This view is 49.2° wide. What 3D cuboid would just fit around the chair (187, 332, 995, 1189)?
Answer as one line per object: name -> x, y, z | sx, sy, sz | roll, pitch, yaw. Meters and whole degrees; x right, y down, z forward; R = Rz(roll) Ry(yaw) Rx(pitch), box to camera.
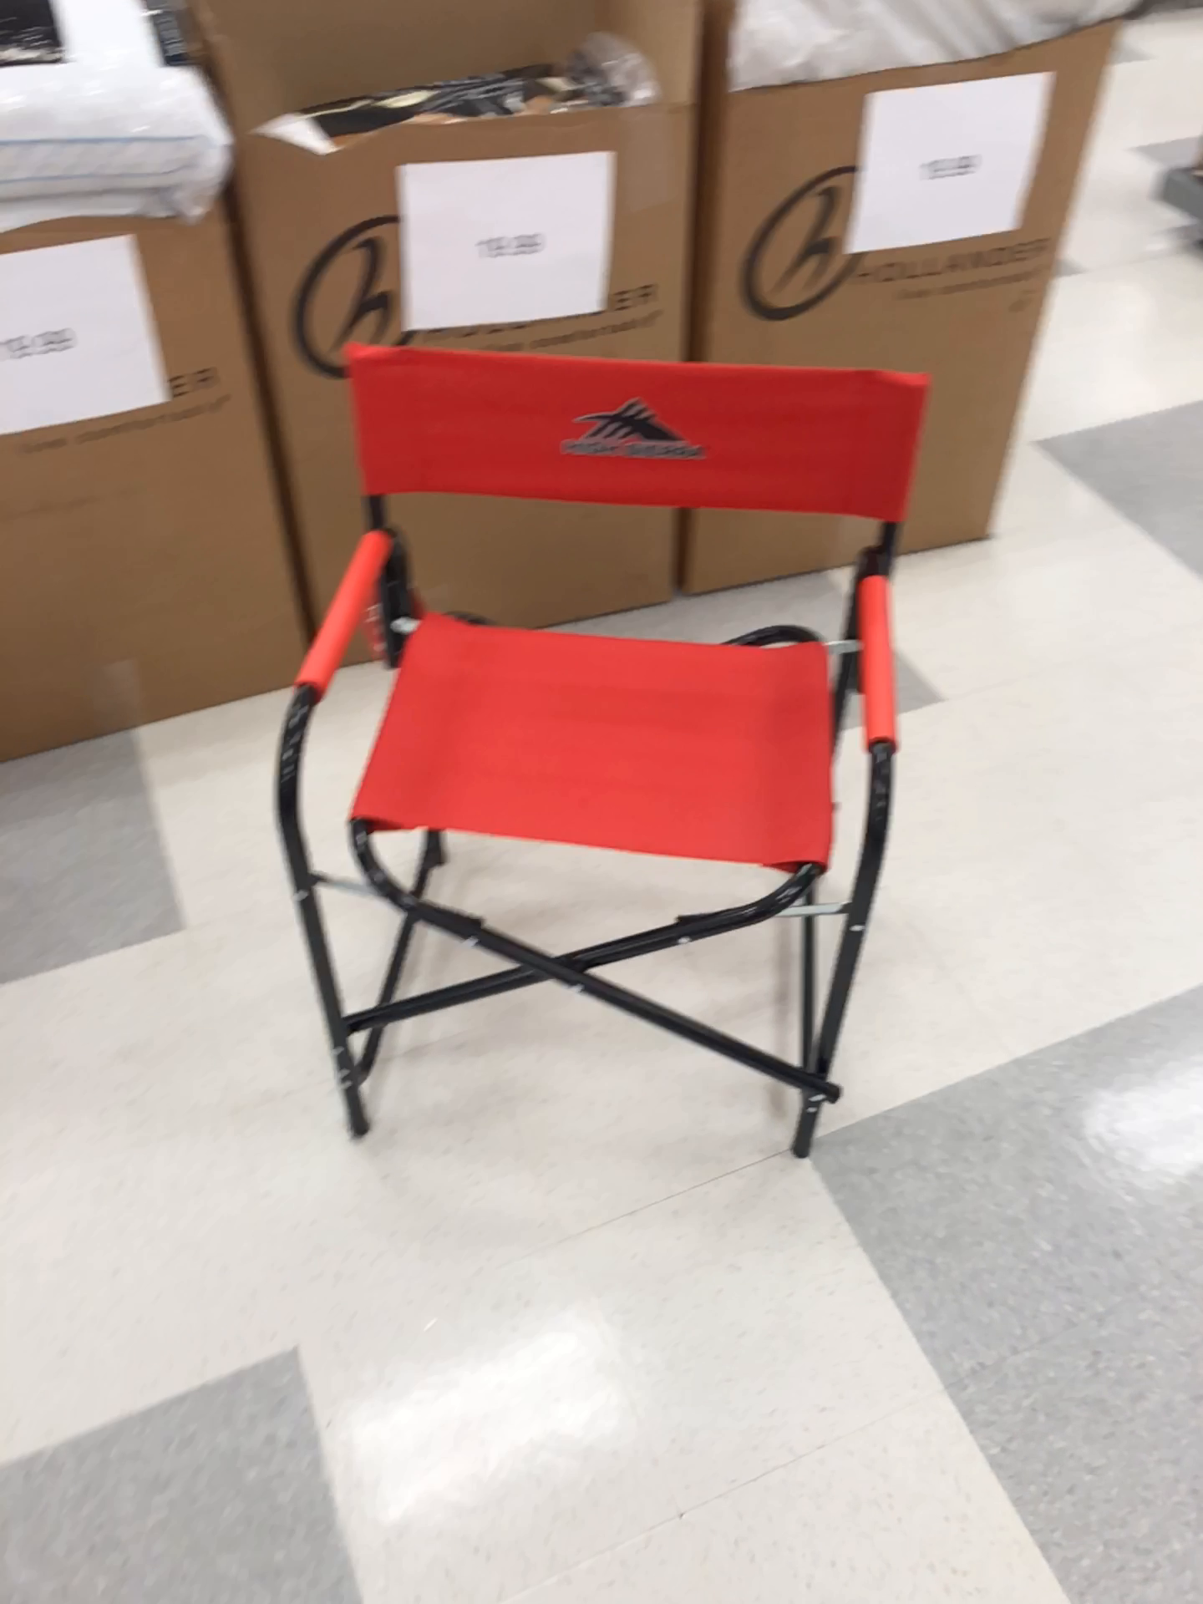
chair -> 0.009, -0.021, 1.390 | 0.592, 0.729, 0.491 | 4, 46, 4
